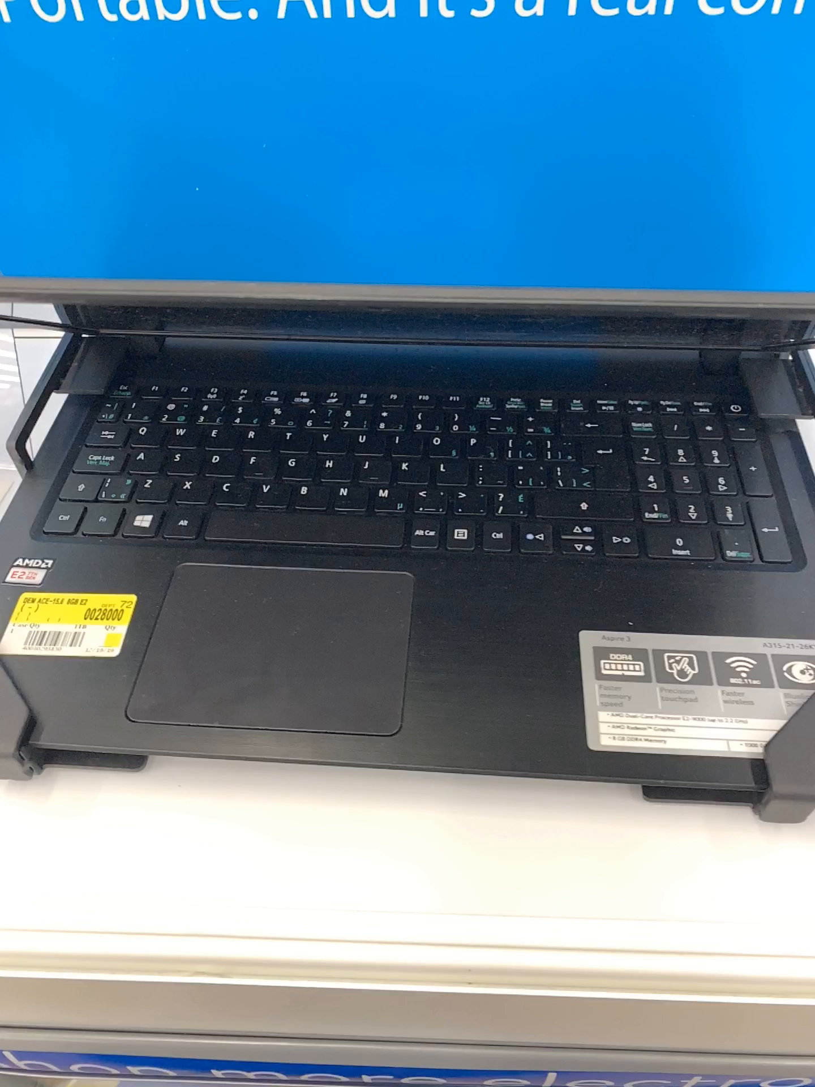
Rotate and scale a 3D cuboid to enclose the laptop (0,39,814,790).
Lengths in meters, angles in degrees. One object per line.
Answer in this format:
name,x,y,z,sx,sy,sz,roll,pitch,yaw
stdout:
laptop,-0.002,-0.062,0.318,0.364,0.146,0.234,2,51,4
